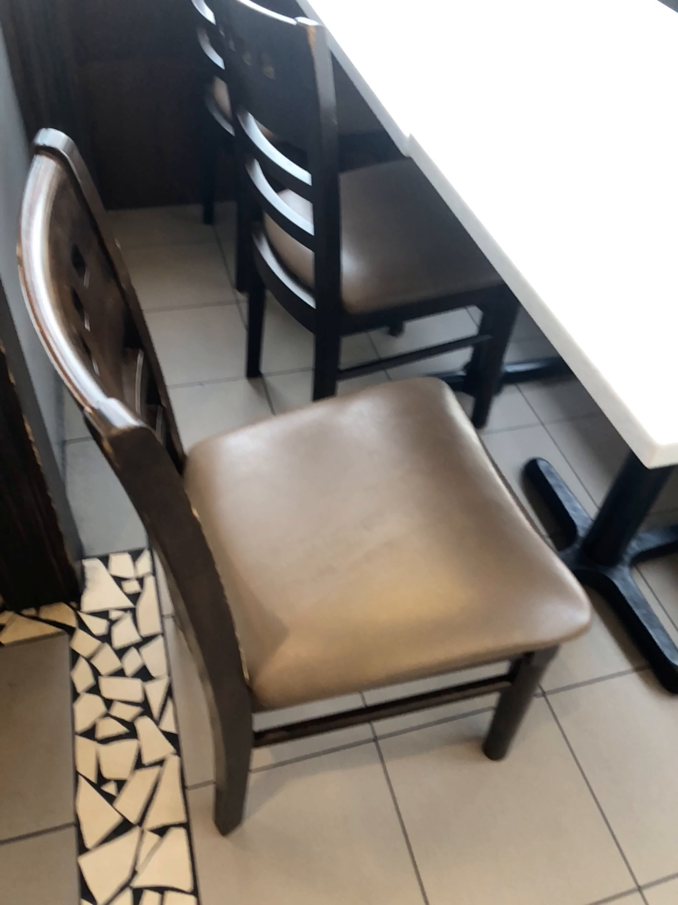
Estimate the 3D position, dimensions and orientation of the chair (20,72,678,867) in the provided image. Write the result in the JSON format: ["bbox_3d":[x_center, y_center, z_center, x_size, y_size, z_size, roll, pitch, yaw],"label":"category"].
[{"bbox_3d":[0.026,0.044,0.859,0.570,0.716,0.473,-10,49,-14],"label":"chair"}]
